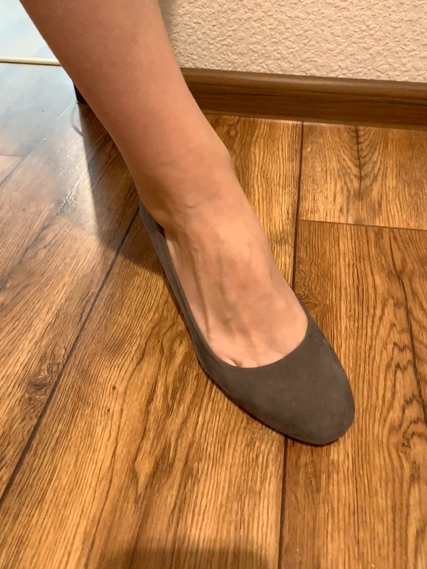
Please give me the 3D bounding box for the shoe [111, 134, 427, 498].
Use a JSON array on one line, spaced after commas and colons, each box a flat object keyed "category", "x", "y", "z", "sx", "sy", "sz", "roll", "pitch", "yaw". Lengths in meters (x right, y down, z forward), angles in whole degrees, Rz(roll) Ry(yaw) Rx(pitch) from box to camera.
[{"category": "shoe", "x": 0.021, "y": 0.005, "z": 0.292, "sx": 0.083, "sy": 0.109, "sz": 0.211, "roll": -25, "pitch": 50, "yaw": -19}]
